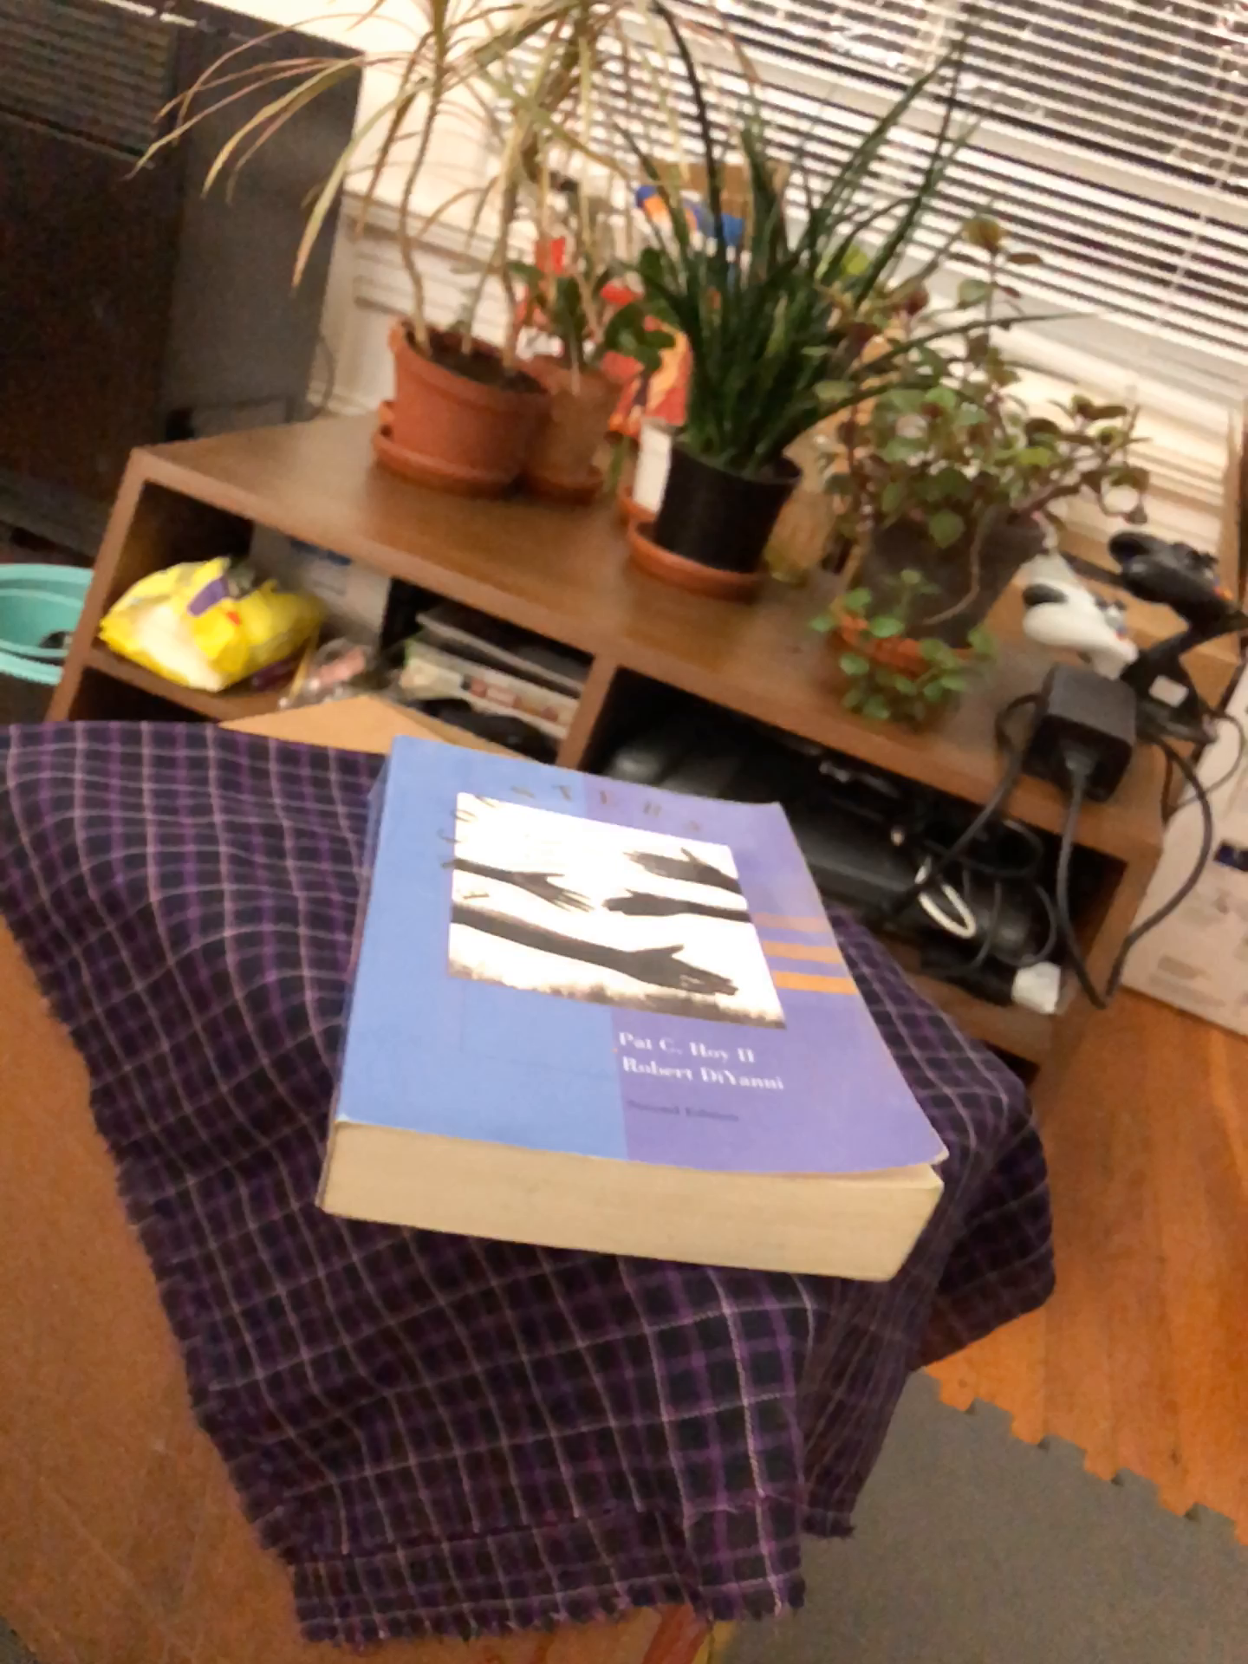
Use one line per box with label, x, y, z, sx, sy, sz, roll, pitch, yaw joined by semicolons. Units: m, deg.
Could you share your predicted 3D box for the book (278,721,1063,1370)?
book;0.002;0.053;0.471;0.200;0.040;0.261;12;25;-12
